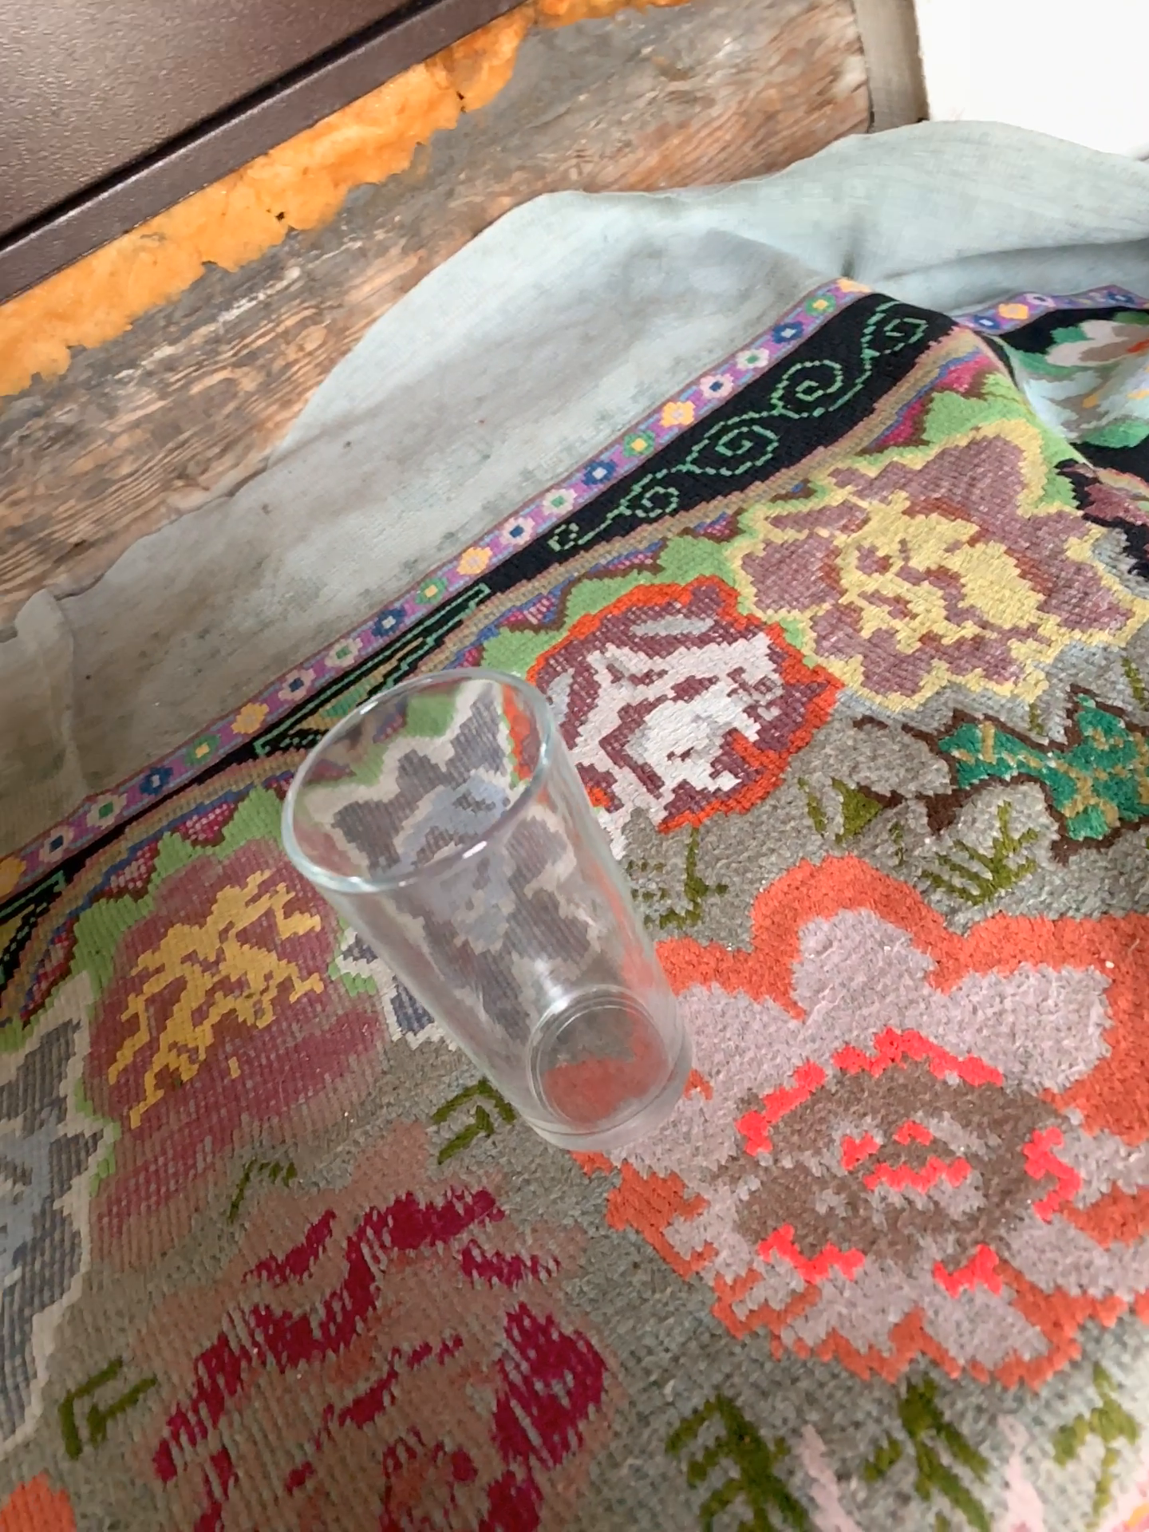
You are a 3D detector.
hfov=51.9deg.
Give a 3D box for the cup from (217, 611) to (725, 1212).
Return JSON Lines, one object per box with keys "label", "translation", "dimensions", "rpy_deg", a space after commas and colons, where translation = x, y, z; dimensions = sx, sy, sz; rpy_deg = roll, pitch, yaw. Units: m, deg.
{"label": "cup", "translation": [-0.017, 0.038, 0.264], "dimensions": [0.060, 0.119, 0.060], "rpy_deg": [-15, 43, 14]}
